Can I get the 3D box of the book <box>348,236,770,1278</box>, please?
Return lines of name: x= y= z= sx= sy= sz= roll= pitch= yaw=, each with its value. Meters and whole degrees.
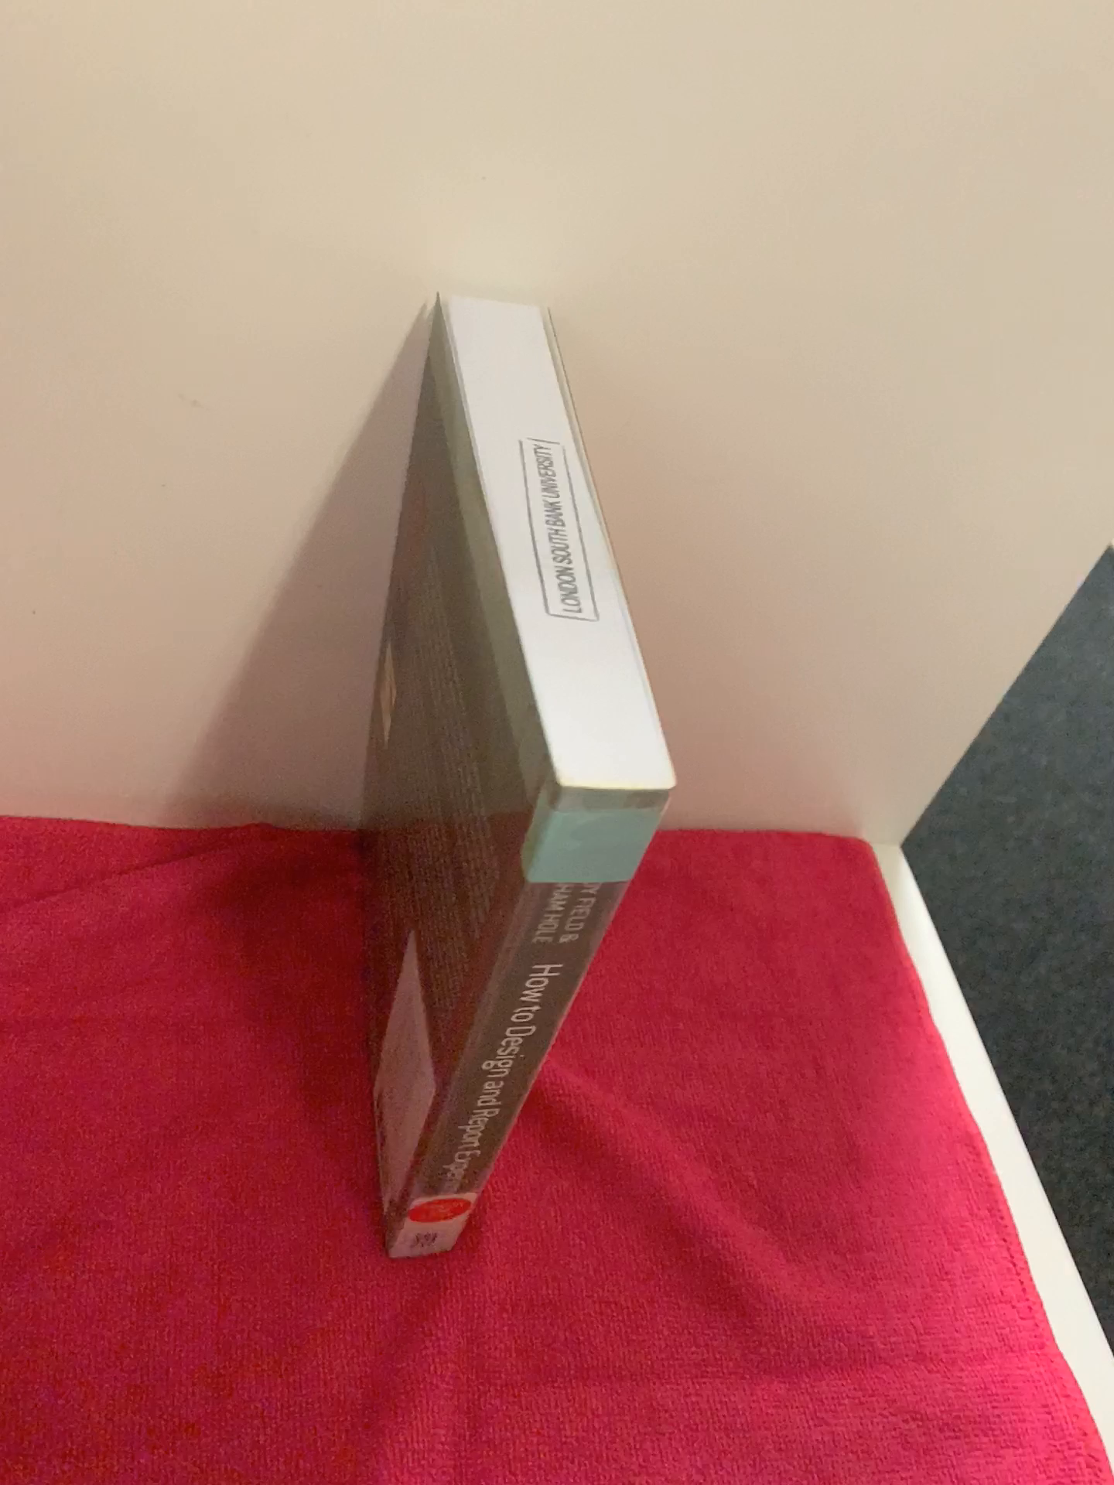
book: x=-0.026 y=0.016 z=0.344 sx=0.040 sy=0.248 sz=0.191 roll=2 pitch=47 yaw=-16
